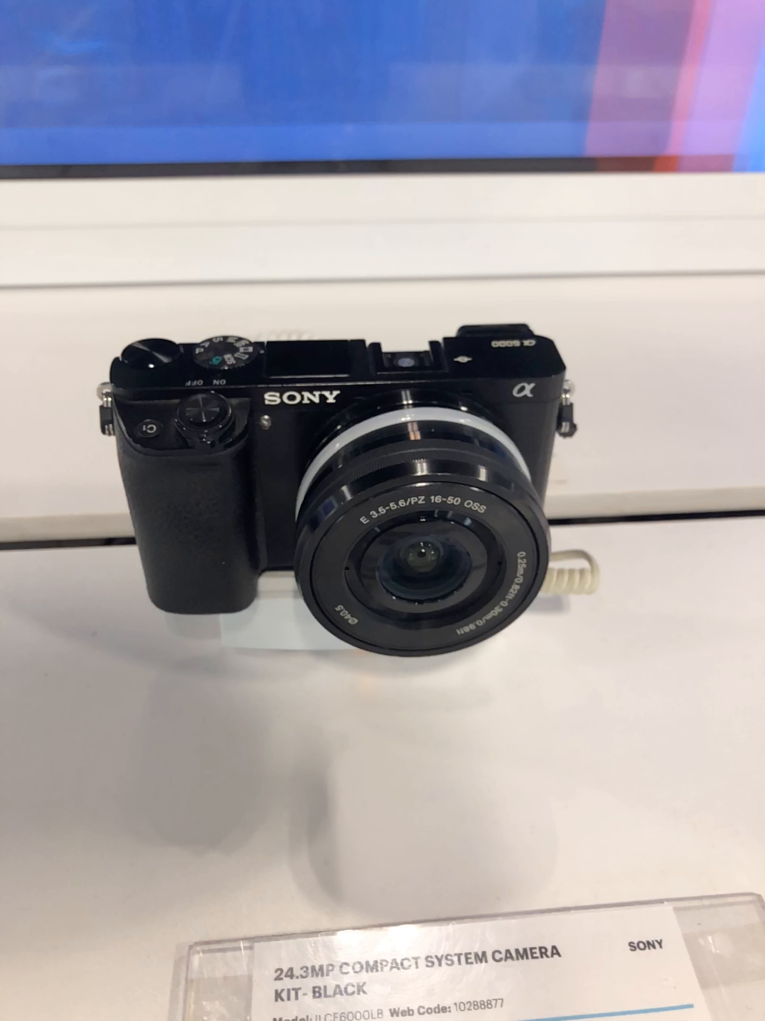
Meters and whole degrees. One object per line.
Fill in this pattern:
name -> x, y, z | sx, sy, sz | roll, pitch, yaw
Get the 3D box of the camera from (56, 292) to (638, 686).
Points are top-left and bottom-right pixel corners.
camera -> -0.009, -0.008, 0.225 | 0.120, 0.070, 0.070 | -3, 39, -5
